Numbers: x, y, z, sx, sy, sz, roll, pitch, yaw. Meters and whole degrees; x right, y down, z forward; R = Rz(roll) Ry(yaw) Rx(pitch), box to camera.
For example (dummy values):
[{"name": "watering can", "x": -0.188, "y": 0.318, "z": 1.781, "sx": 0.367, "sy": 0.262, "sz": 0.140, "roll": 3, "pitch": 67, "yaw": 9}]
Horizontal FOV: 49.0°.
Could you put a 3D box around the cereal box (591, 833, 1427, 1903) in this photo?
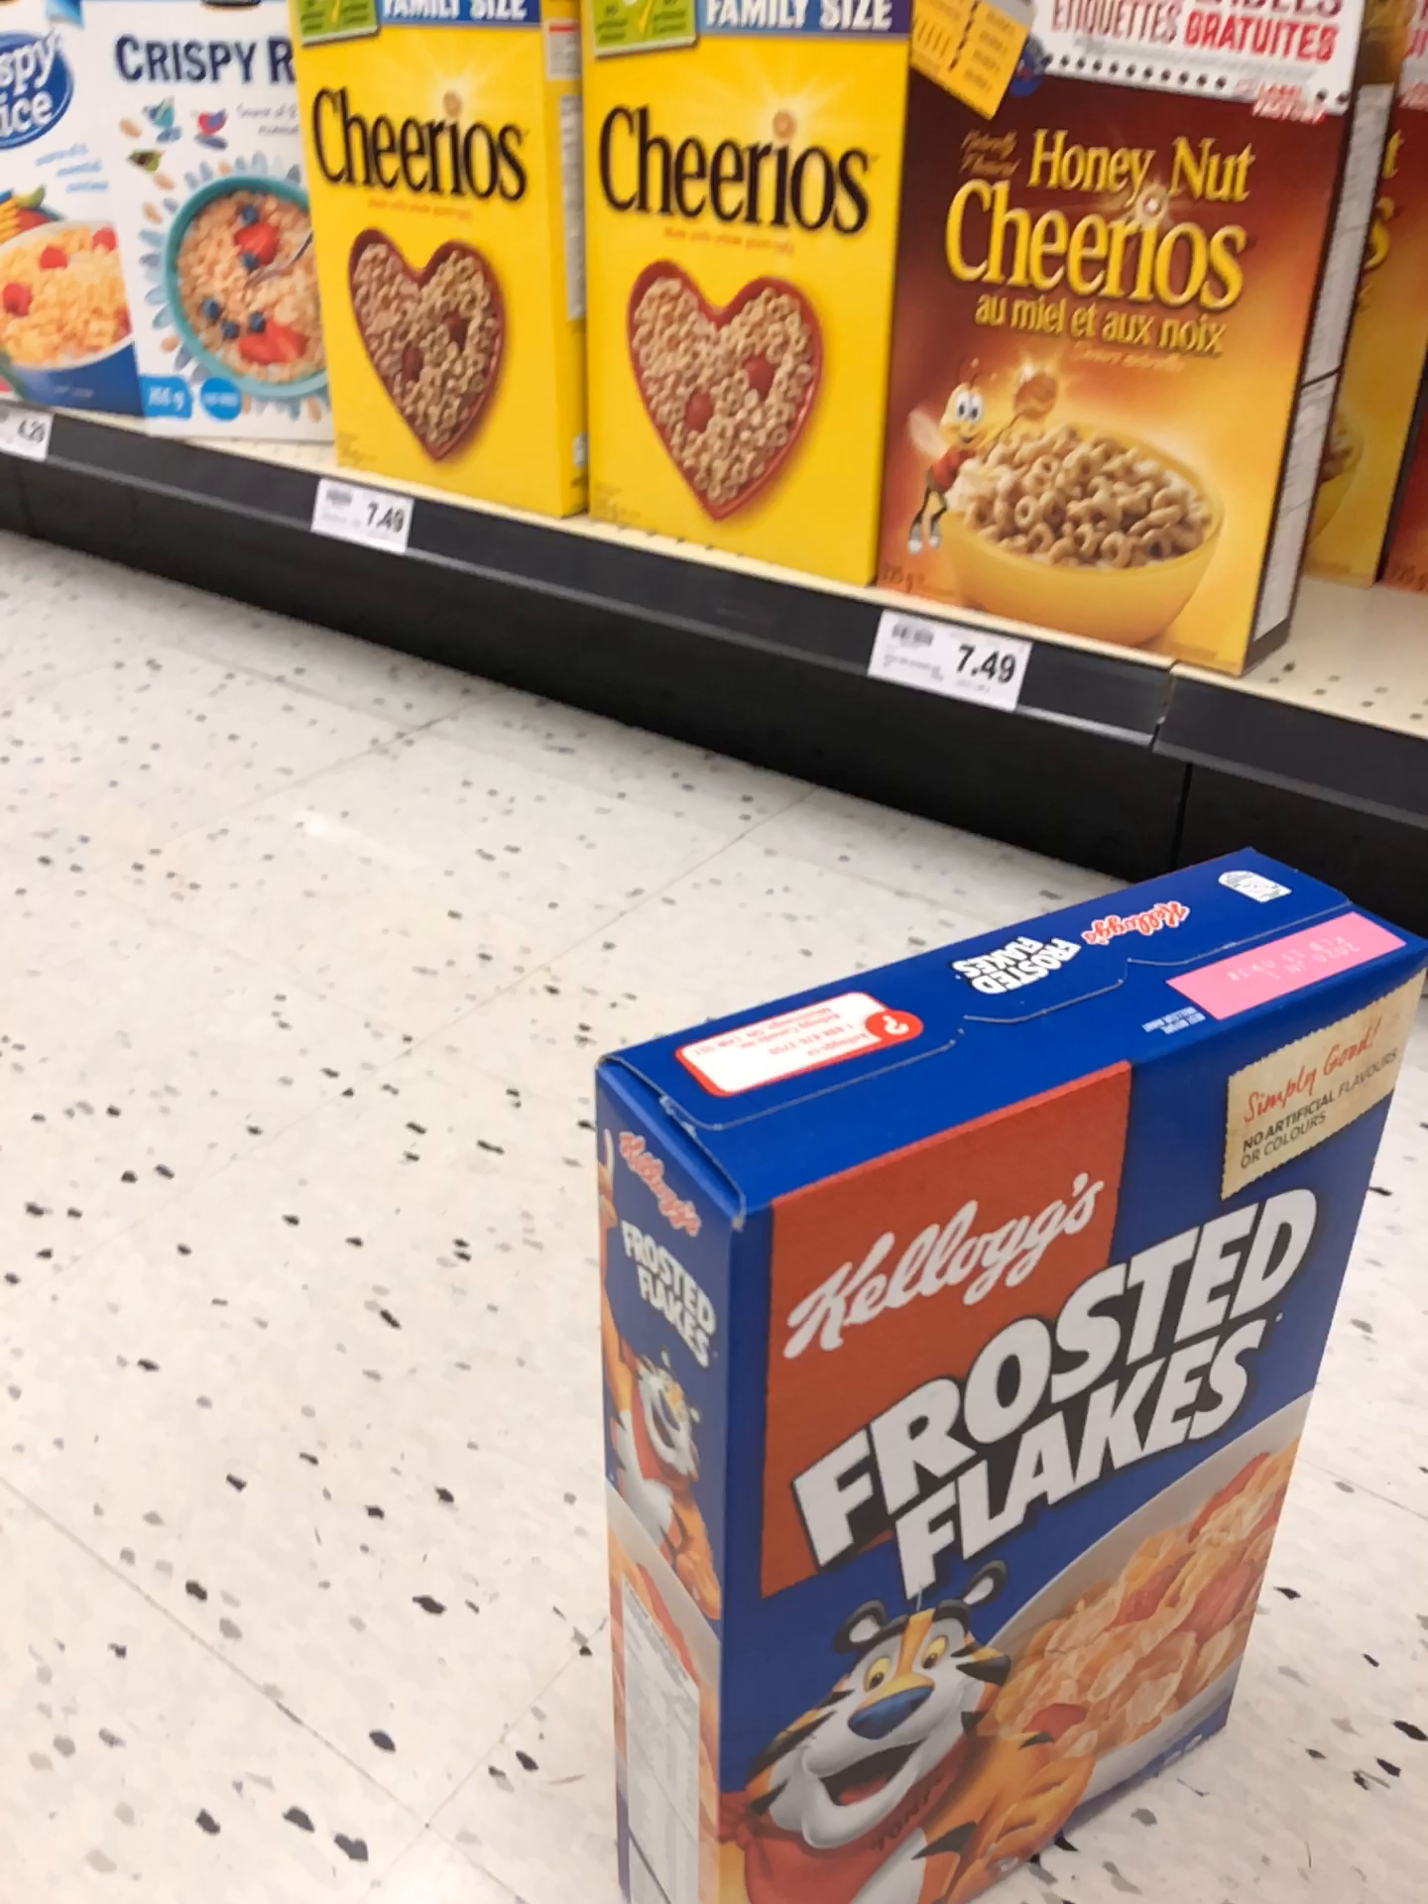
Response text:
[{"name": "cereal box", "x": 0.075, "y": 0.134, "z": 0.413, "sx": 0.200, "sy": 0.288, "sz": 0.070, "roll": -17, "pitch": 35, "yaw": -28}]
